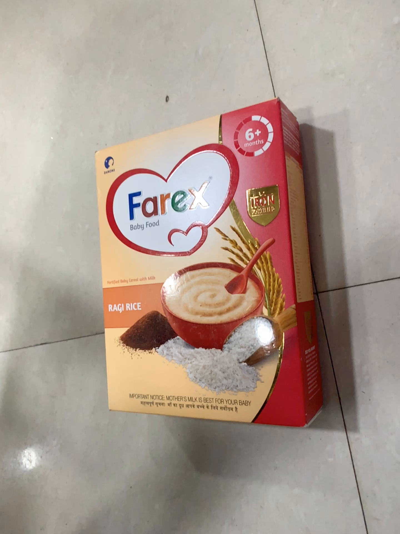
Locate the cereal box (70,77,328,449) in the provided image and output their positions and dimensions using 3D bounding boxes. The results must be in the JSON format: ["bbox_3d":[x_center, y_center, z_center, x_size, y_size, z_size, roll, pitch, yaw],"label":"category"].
[{"bbox_3d":[-0.004,0.003,0.274,0.151,0.050,0.200,-5,87,24],"label":"cereal box"}]
